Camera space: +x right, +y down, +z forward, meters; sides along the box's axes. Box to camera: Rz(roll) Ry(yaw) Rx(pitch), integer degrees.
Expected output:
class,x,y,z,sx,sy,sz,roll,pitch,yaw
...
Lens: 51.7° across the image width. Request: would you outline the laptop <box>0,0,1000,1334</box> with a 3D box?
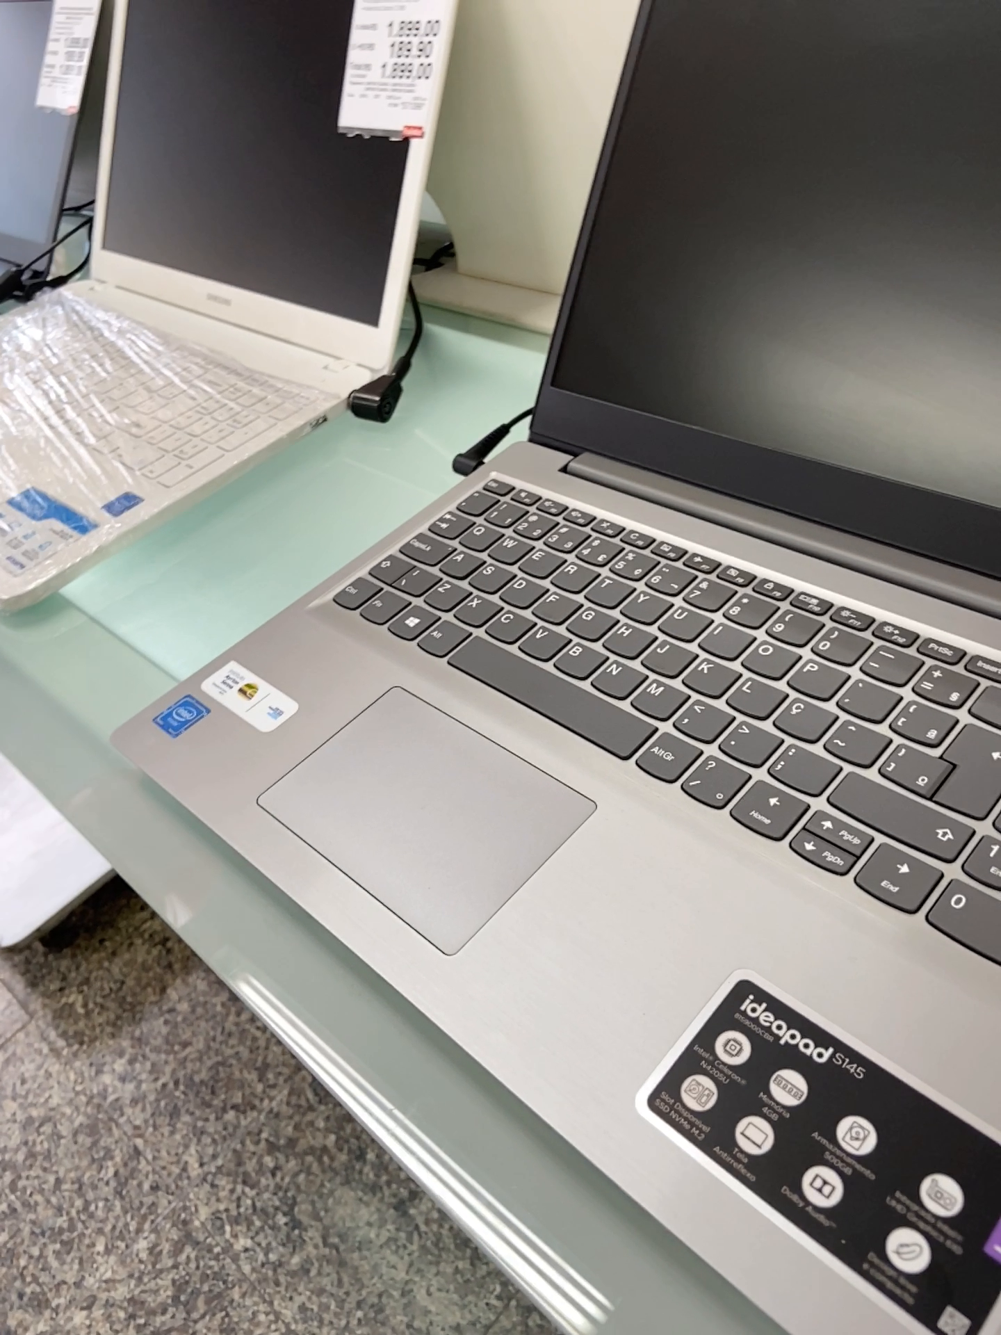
class,x,y,z,sx,sy,sz,roll,pitch,yaw
laptop,0.086,-0.092,0.332,0.367,0.189,0.402,27,56,38
